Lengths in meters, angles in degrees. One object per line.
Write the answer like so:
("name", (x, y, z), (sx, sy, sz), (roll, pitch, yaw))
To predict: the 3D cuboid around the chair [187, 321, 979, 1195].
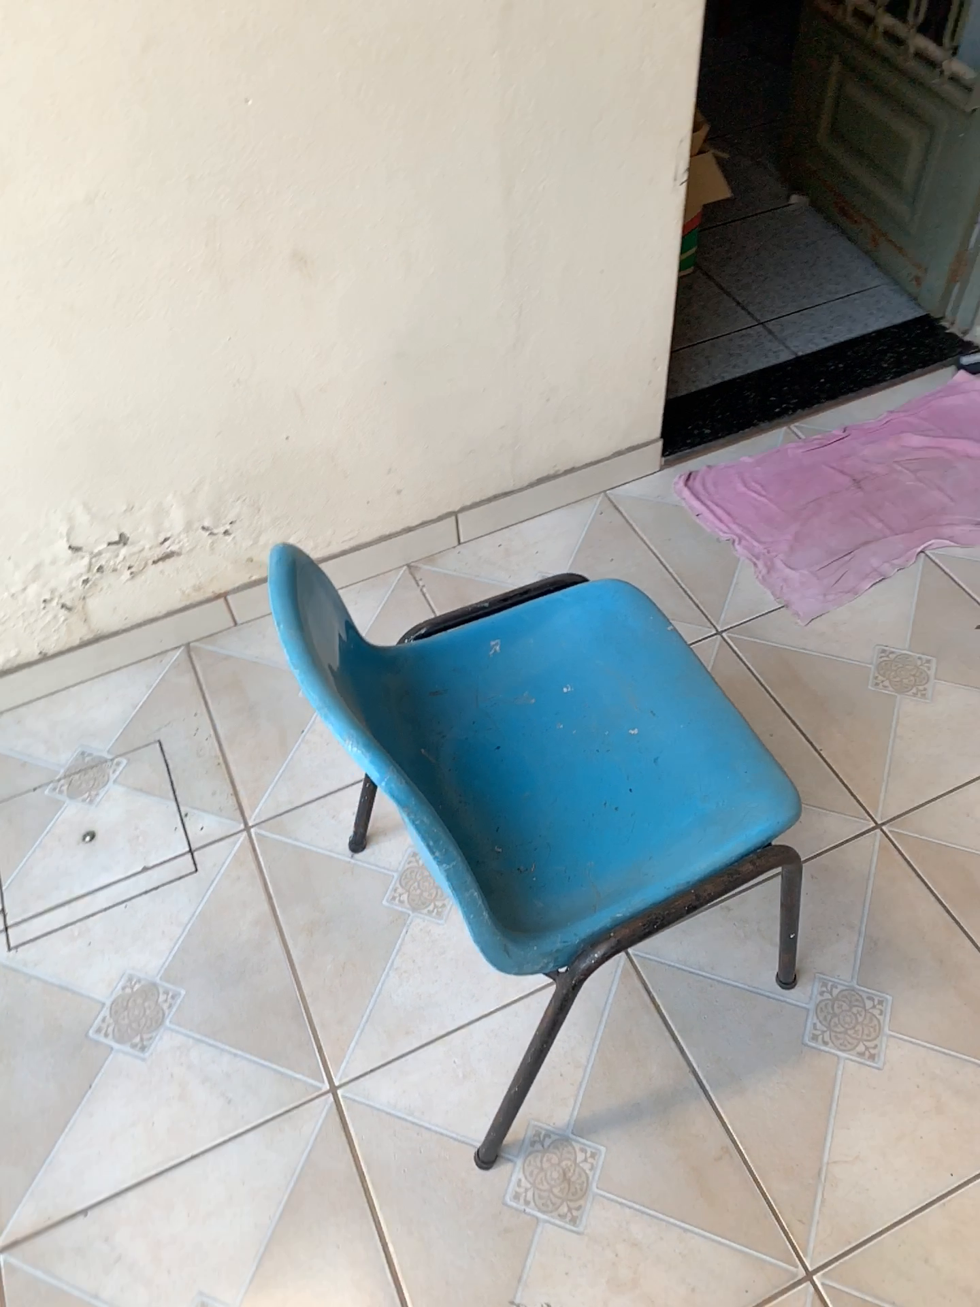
("chair", (0.079, 0.137, 1.135), (0.530, 0.687, 0.552), (-21, 53, -13))
